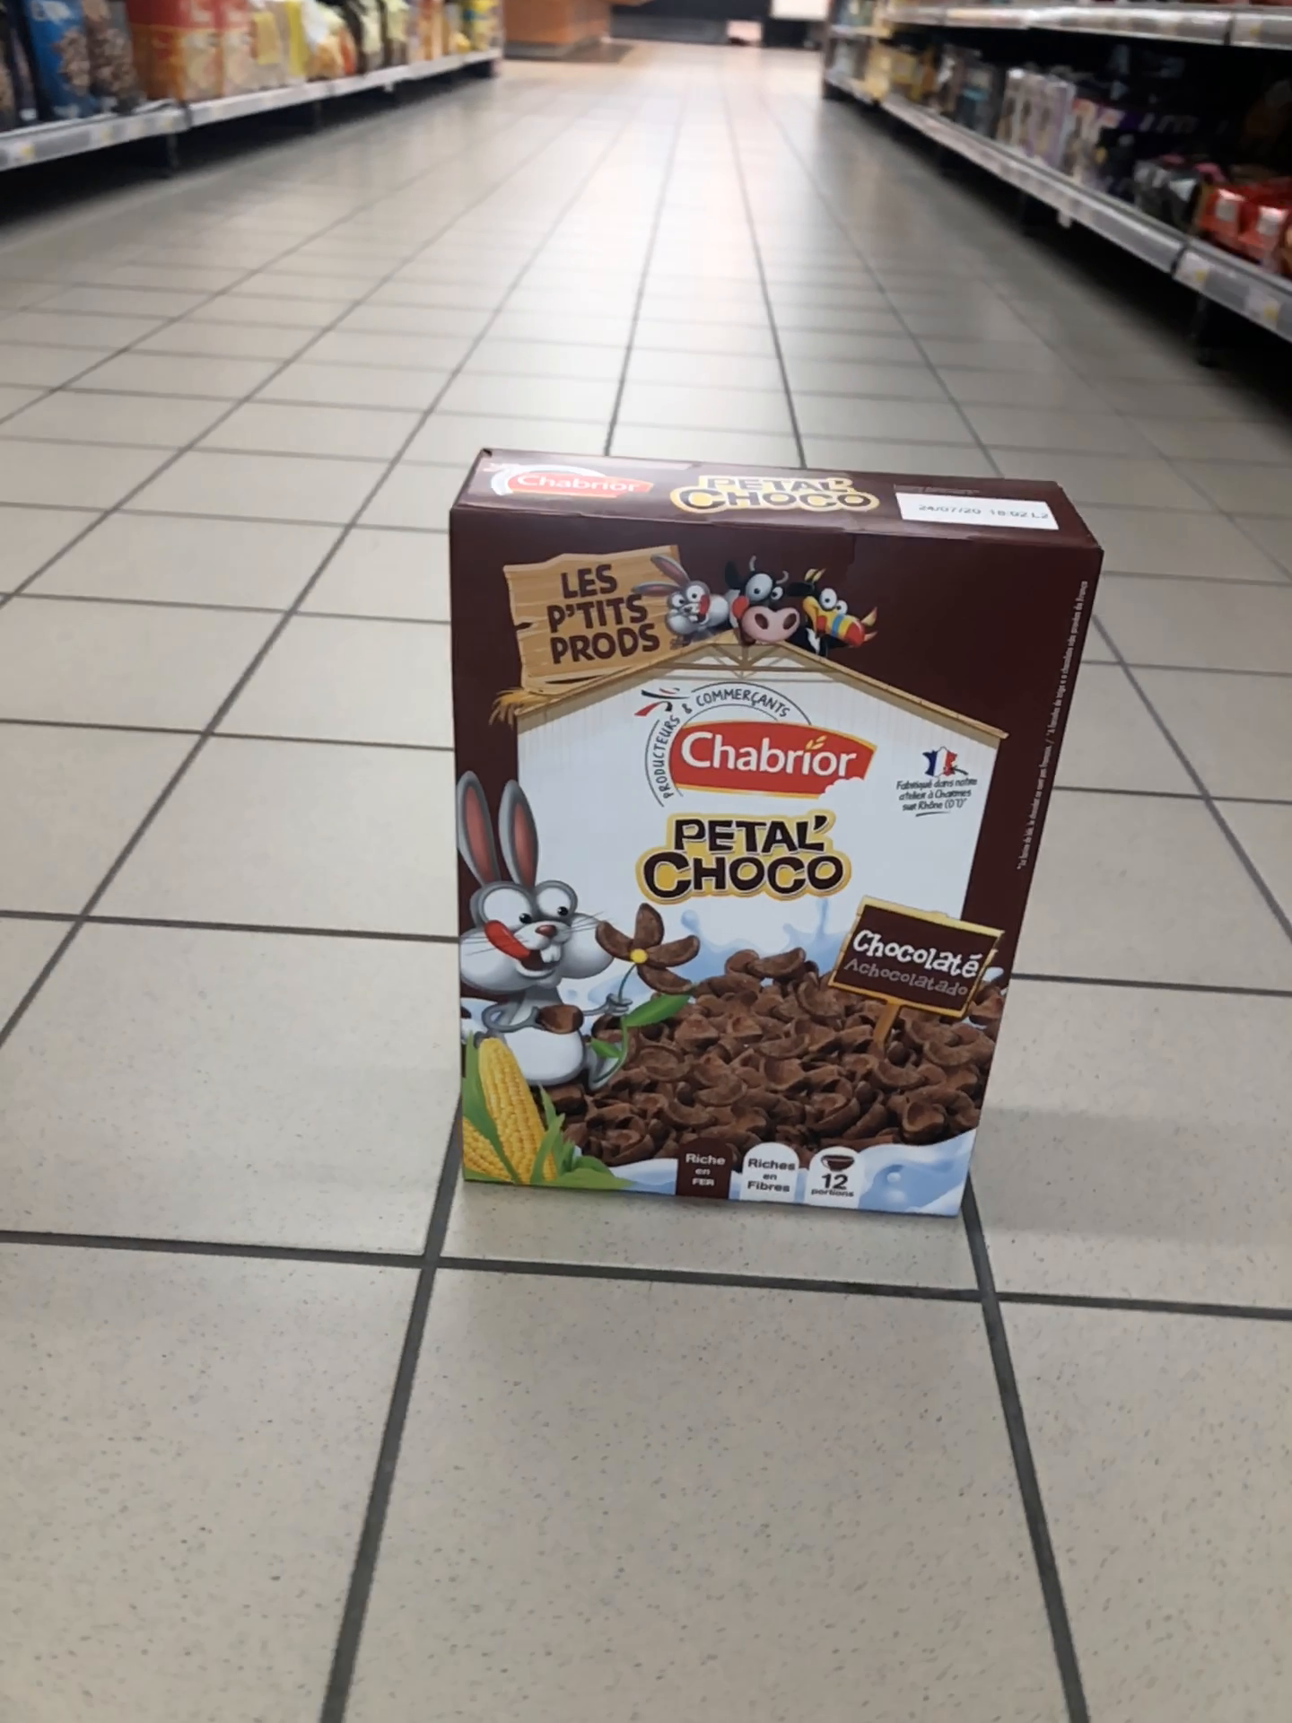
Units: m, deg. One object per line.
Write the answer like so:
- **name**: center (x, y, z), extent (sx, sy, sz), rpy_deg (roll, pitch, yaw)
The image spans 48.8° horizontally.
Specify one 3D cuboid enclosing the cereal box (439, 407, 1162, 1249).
- **cereal box**: center (0.036, 0.000, 0.492), extent (0.200, 0.278, 0.070), rpy_deg (4, 30, 0)
